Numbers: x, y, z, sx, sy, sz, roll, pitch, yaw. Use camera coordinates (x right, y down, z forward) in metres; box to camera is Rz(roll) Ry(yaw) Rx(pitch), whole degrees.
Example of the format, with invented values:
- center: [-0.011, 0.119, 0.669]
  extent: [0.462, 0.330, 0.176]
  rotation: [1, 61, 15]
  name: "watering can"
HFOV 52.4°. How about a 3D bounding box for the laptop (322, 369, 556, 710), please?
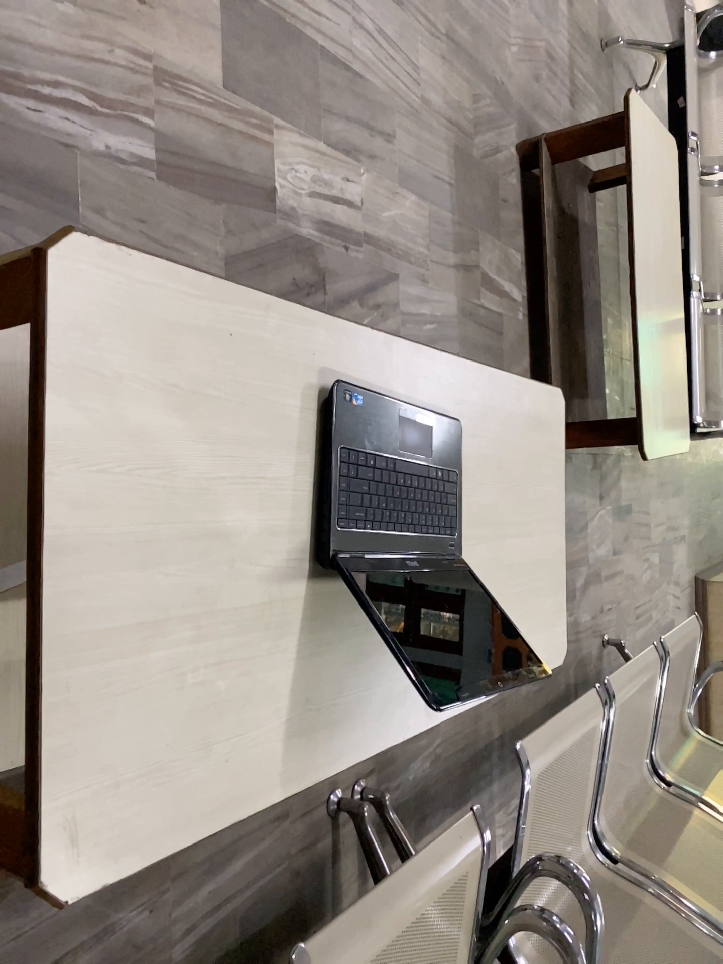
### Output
- center: [0.121, 0.077, 0.990]
  extent: [0.331, 0.152, 0.378]
  rotation: [9, 82, -52]
  name: "laptop"
